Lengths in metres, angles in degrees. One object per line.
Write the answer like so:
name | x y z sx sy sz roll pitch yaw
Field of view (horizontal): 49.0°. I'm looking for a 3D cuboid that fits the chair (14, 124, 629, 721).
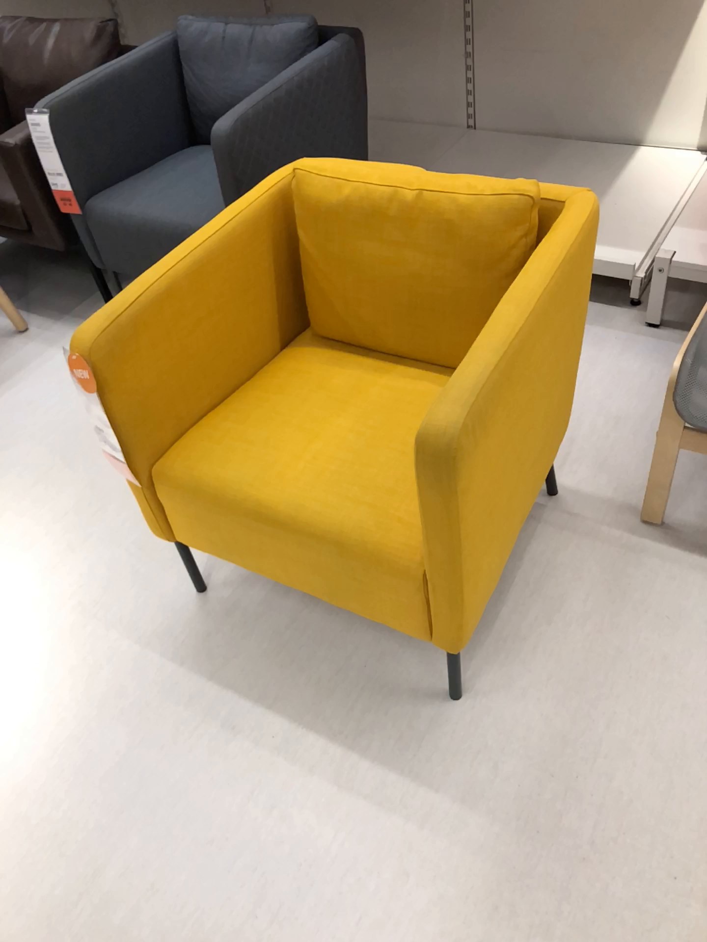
chair | 0.009 -0.131 1.434 0.722 0.695 0.663 17 50 26
